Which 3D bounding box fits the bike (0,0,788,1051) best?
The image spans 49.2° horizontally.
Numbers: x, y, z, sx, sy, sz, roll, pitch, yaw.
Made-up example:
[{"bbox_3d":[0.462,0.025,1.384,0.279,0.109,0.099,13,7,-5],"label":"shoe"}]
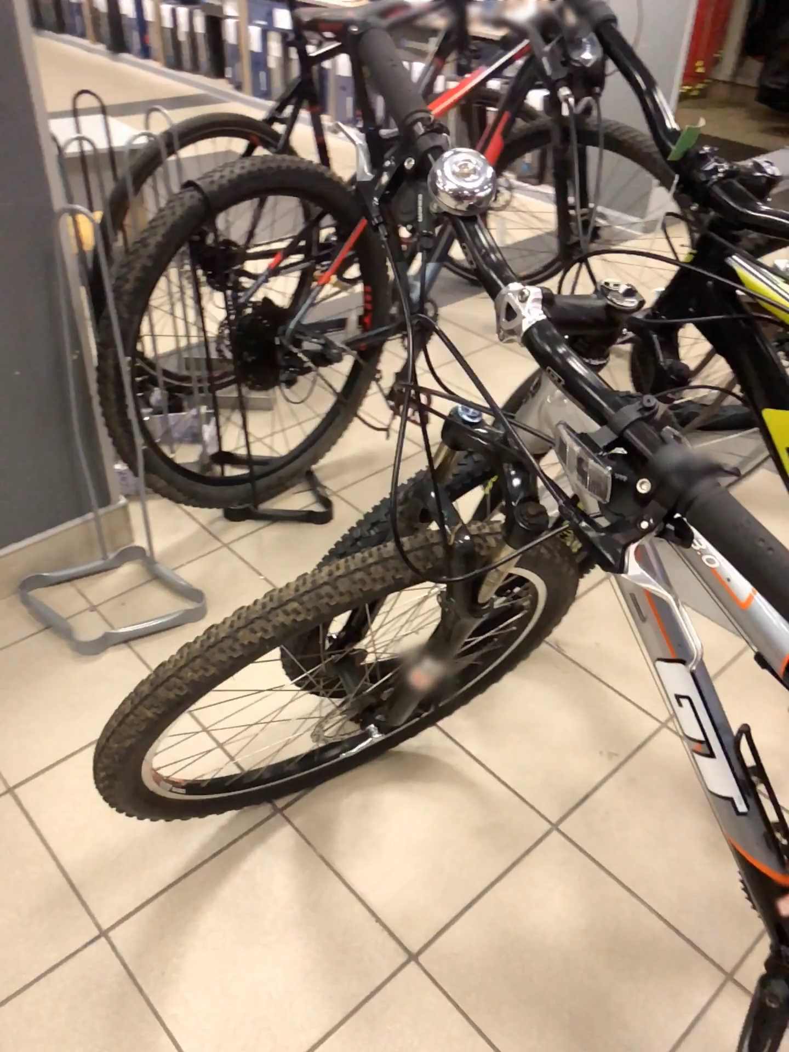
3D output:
[{"bbox_3d":[0.349,0.286,0.595,1.426,1.012,0.627,21,40,19],"label":"bike"}]
